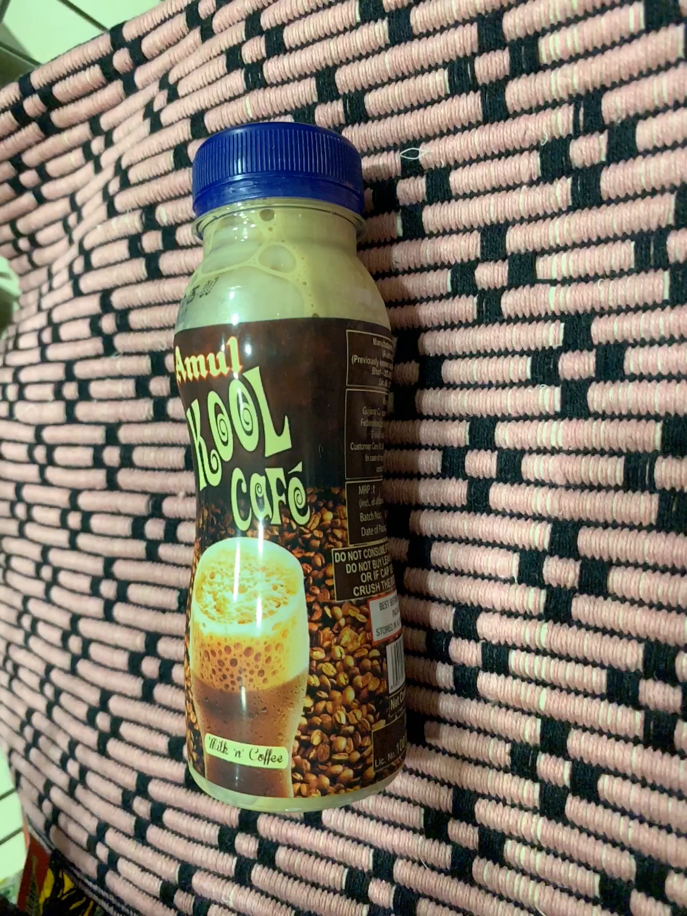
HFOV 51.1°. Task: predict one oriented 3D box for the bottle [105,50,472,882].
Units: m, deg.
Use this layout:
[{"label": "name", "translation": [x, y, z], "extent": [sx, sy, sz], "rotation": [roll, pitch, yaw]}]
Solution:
[{"label": "bottle", "translation": [-0.010, 0.001, 0.158], "extent": [0.060, 0.050, 0.140], "rotation": [-2, 85, 32]}]
